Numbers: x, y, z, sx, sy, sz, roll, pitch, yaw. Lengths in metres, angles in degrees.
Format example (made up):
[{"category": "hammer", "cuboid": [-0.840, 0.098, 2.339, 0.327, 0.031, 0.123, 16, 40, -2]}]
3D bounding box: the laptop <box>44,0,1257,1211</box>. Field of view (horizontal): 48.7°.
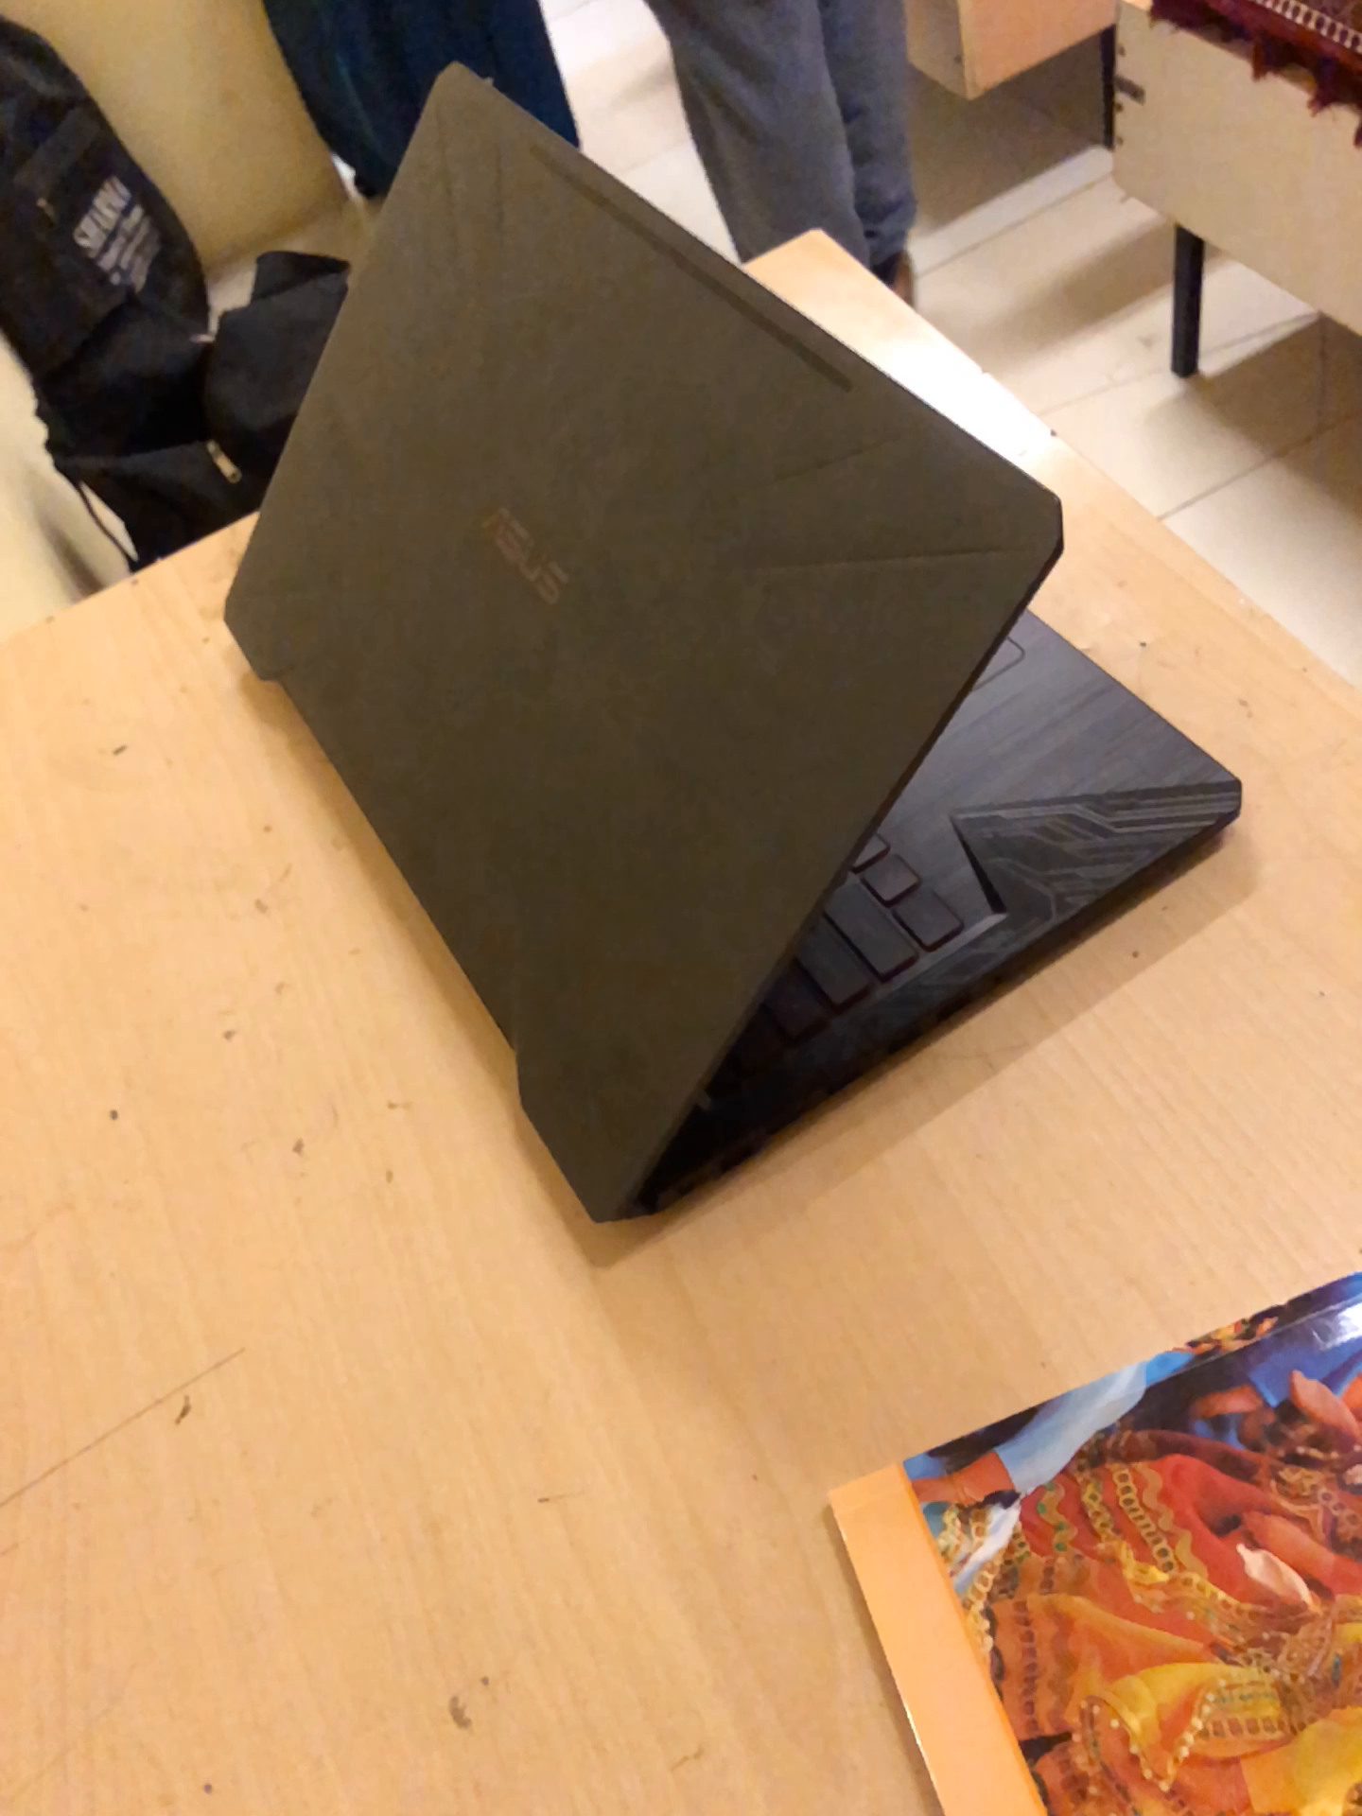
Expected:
[{"category": "laptop", "cuboid": [-0.026, -0.135, 0.554, 0.252, 0.173, 0.371, -34, 53, -8]}]
